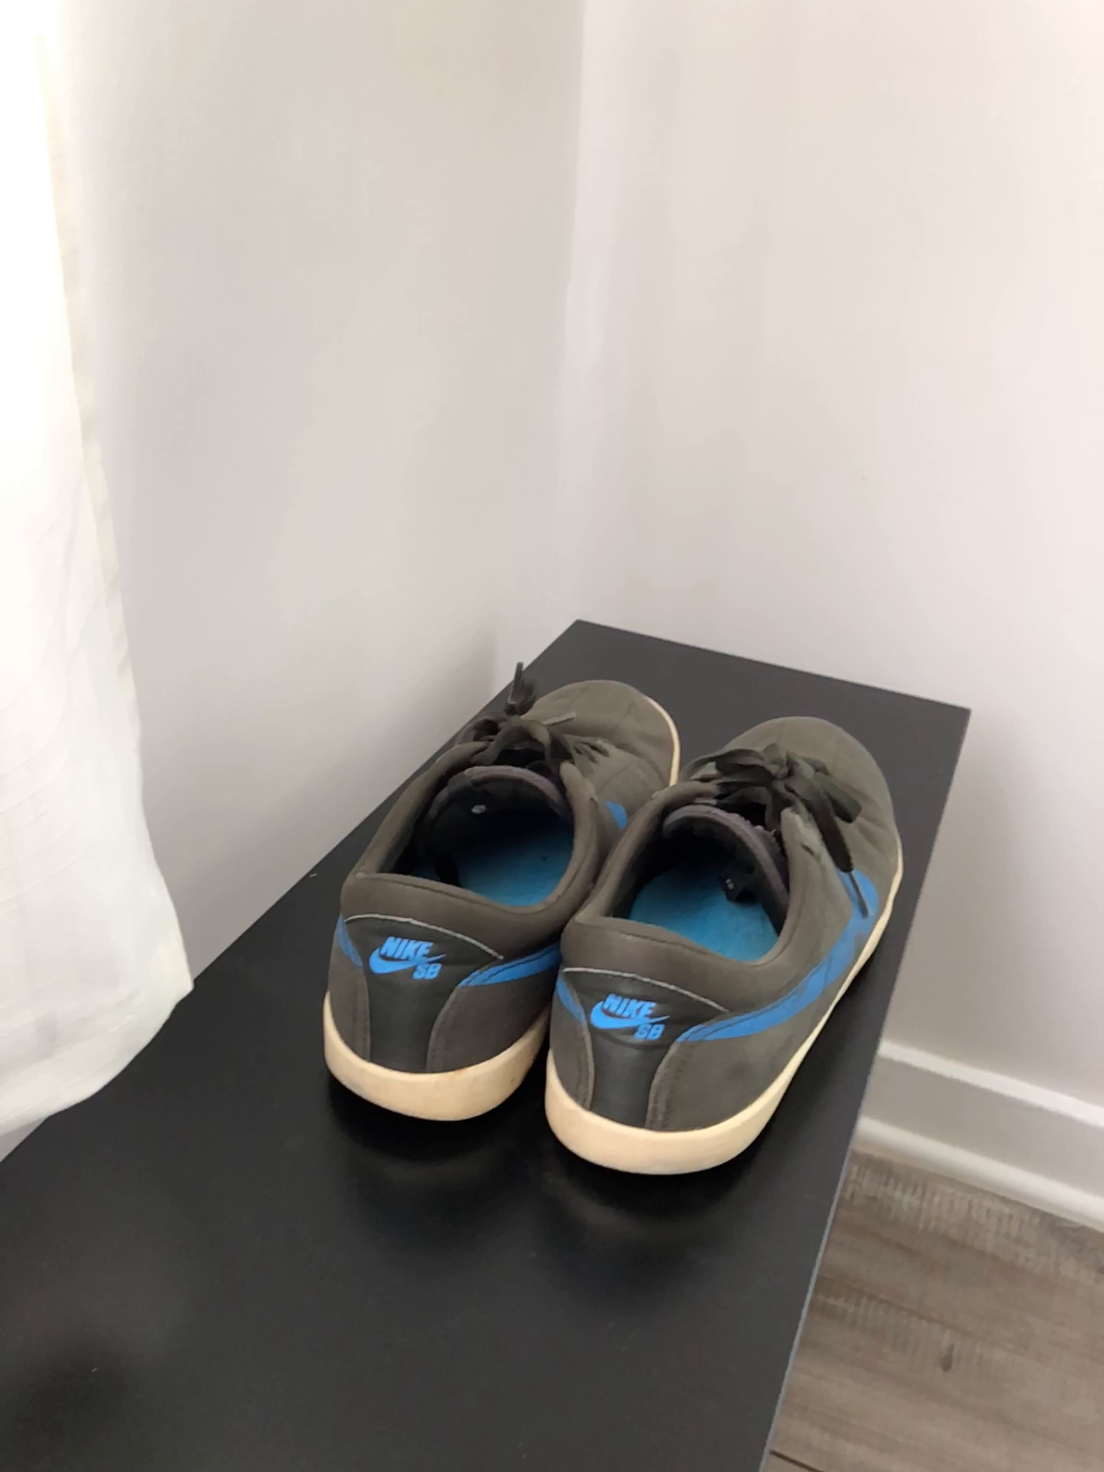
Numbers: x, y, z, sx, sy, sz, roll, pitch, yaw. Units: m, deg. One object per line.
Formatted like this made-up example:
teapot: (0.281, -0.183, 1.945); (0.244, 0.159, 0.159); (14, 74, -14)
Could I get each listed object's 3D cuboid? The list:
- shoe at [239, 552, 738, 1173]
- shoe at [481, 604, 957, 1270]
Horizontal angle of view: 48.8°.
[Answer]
shoe: (-0.008, 0.027, 0.513); (0.100, 0.110, 0.281); (13, 30, 15)
shoe: (0.082, 0.054, 0.497); (0.100, 0.110, 0.281); (16, 31, 19)
